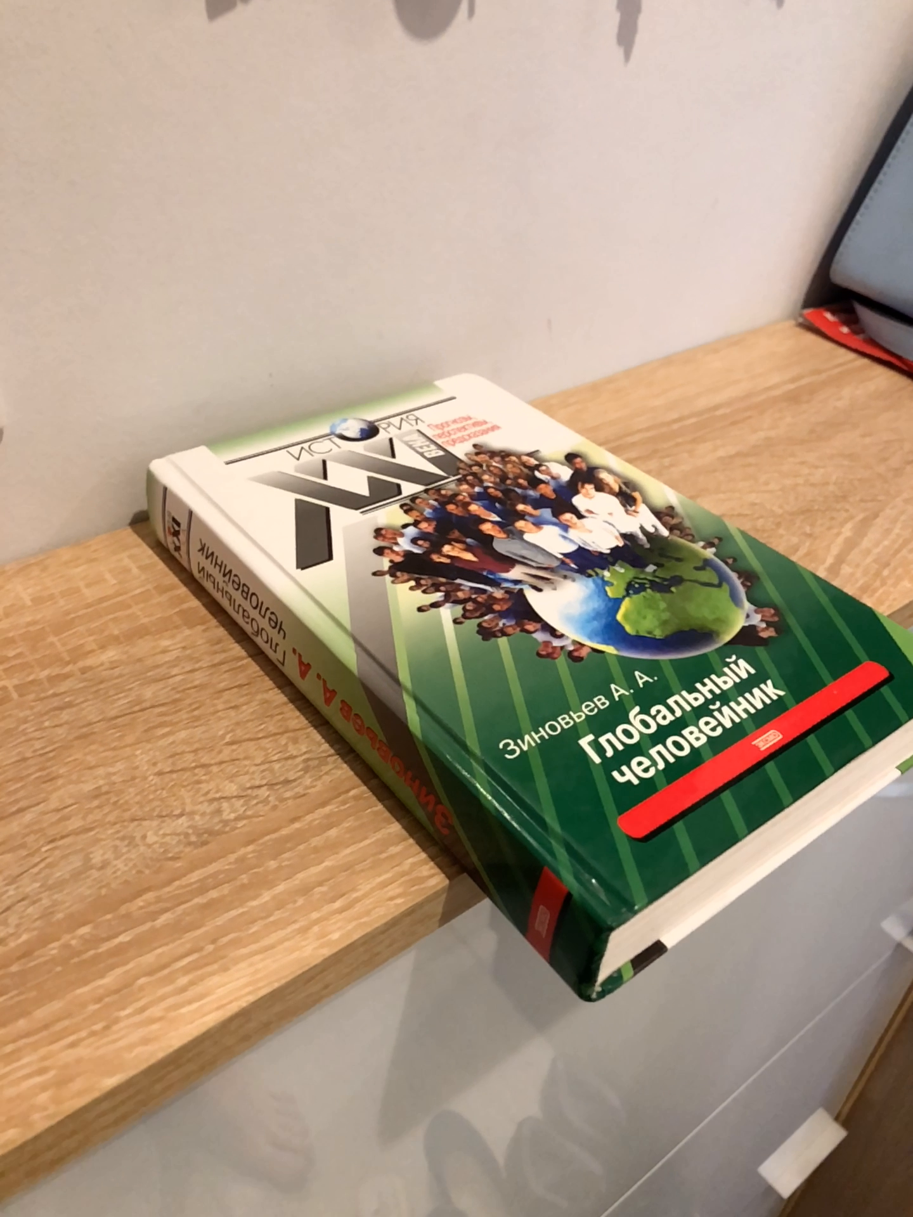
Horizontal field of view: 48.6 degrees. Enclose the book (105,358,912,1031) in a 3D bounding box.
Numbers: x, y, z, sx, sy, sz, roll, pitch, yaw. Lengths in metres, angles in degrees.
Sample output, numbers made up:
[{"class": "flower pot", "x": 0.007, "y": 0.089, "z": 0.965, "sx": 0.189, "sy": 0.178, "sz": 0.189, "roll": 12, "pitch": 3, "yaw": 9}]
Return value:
[{"class": "book", "x": 0.014, "y": -0.008, "z": 0.287, "sx": 0.141, "sy": 0.020, "sz": 0.221, "roll": -23, "pitch": 45, "yaw": -31}]
